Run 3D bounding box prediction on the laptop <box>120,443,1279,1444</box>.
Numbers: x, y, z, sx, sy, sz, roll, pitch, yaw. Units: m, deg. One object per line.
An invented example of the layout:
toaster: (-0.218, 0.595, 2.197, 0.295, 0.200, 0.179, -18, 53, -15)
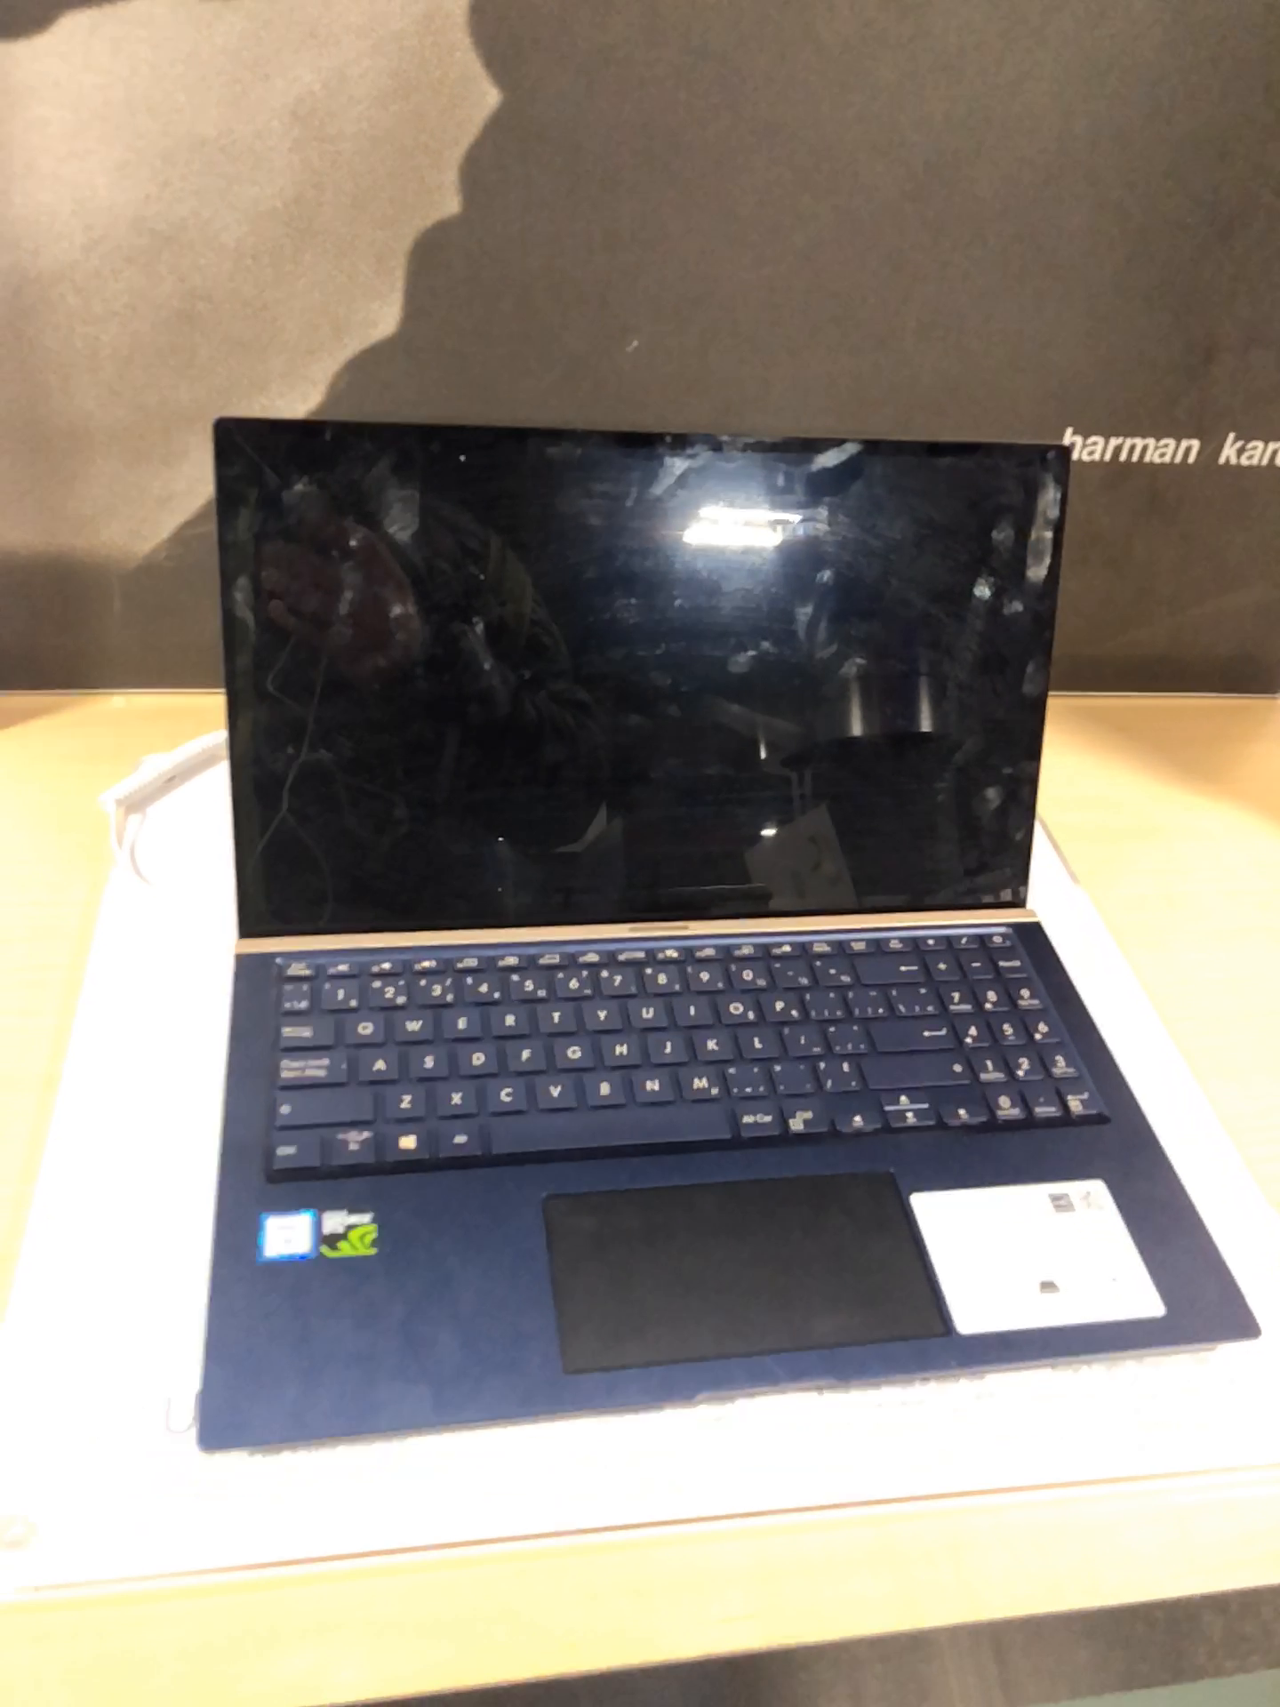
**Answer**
laptop: (0.026, 0.002, 0.481, 0.331, 0.173, 0.294, -2, 39, -10)
